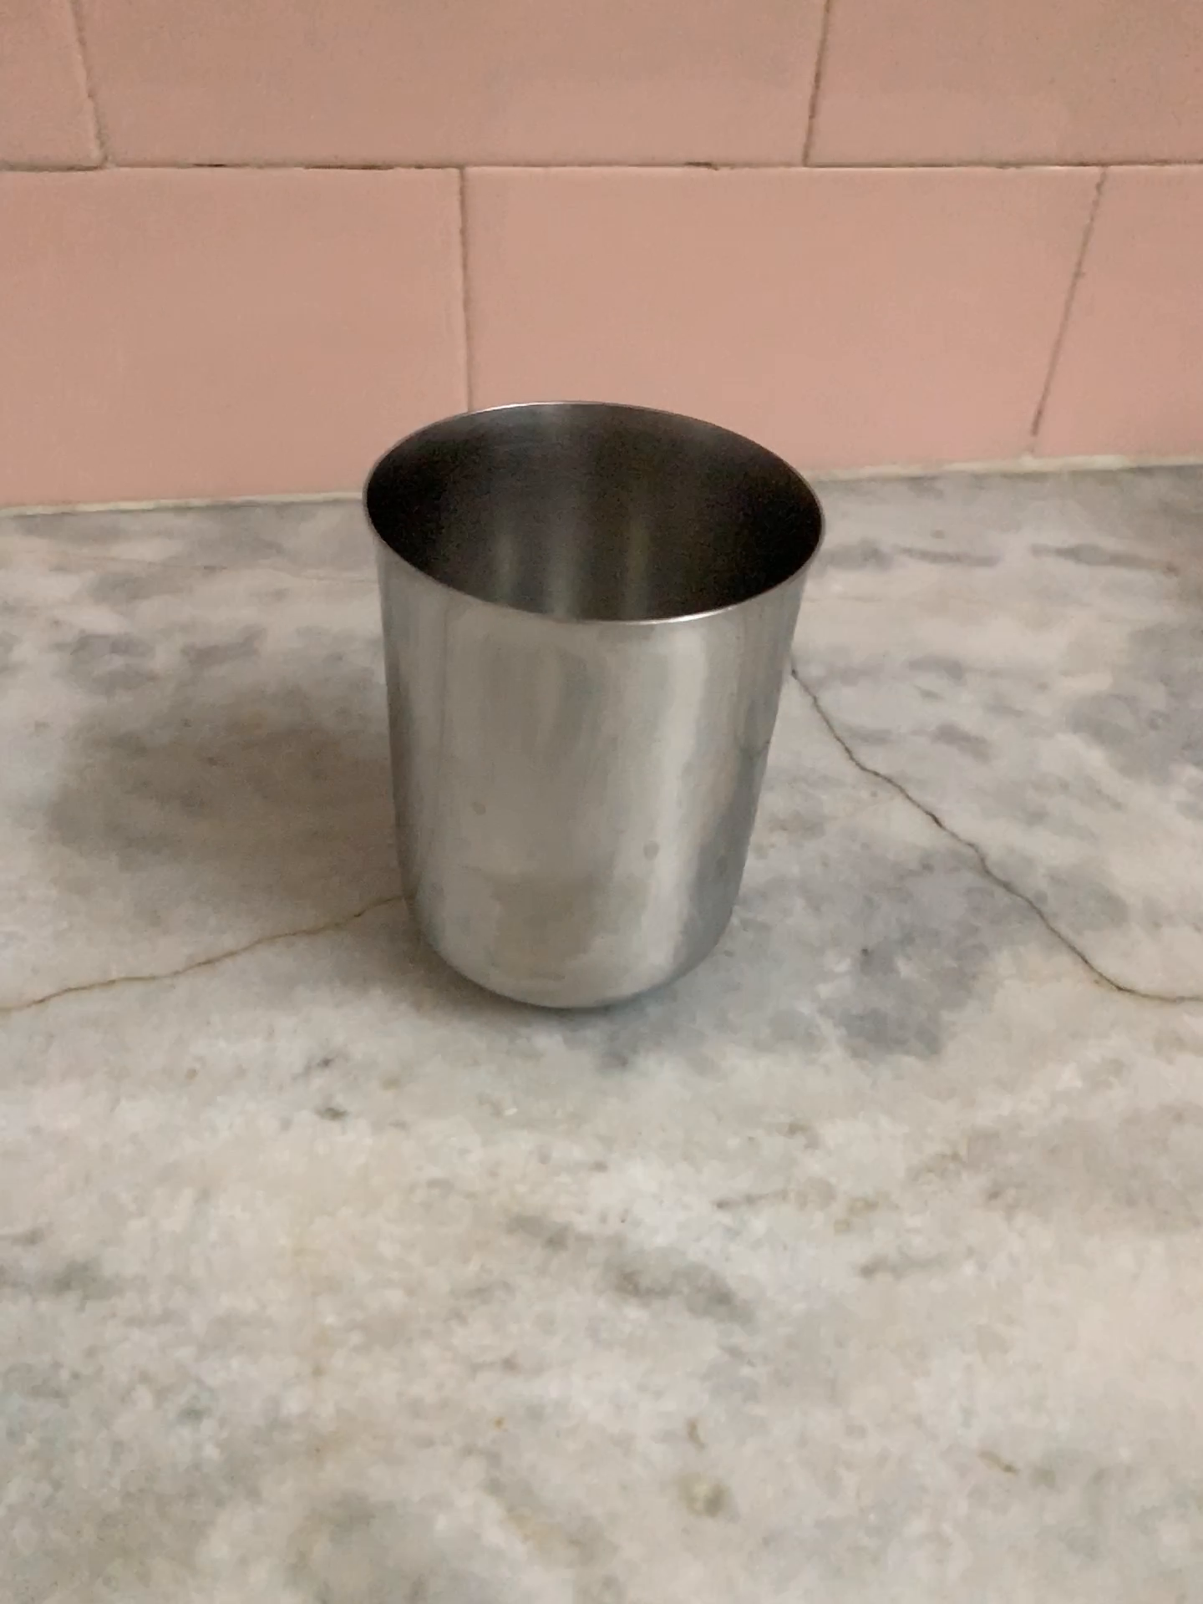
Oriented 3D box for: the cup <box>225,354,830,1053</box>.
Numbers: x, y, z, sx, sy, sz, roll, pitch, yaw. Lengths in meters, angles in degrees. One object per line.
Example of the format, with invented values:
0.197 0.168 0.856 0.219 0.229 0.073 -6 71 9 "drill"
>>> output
-0.009 -0.018 0.224 0.080 0.090 0.080 2 40 -2 "cup"
